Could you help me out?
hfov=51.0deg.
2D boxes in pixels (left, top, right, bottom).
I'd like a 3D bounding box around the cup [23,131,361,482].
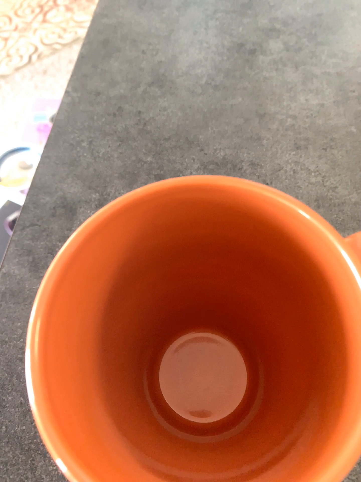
[{"bbox_3d":[0.028,0.038,0.123,0.120,0.090,0.080,-12,62,-2],"label":"cup"}]
